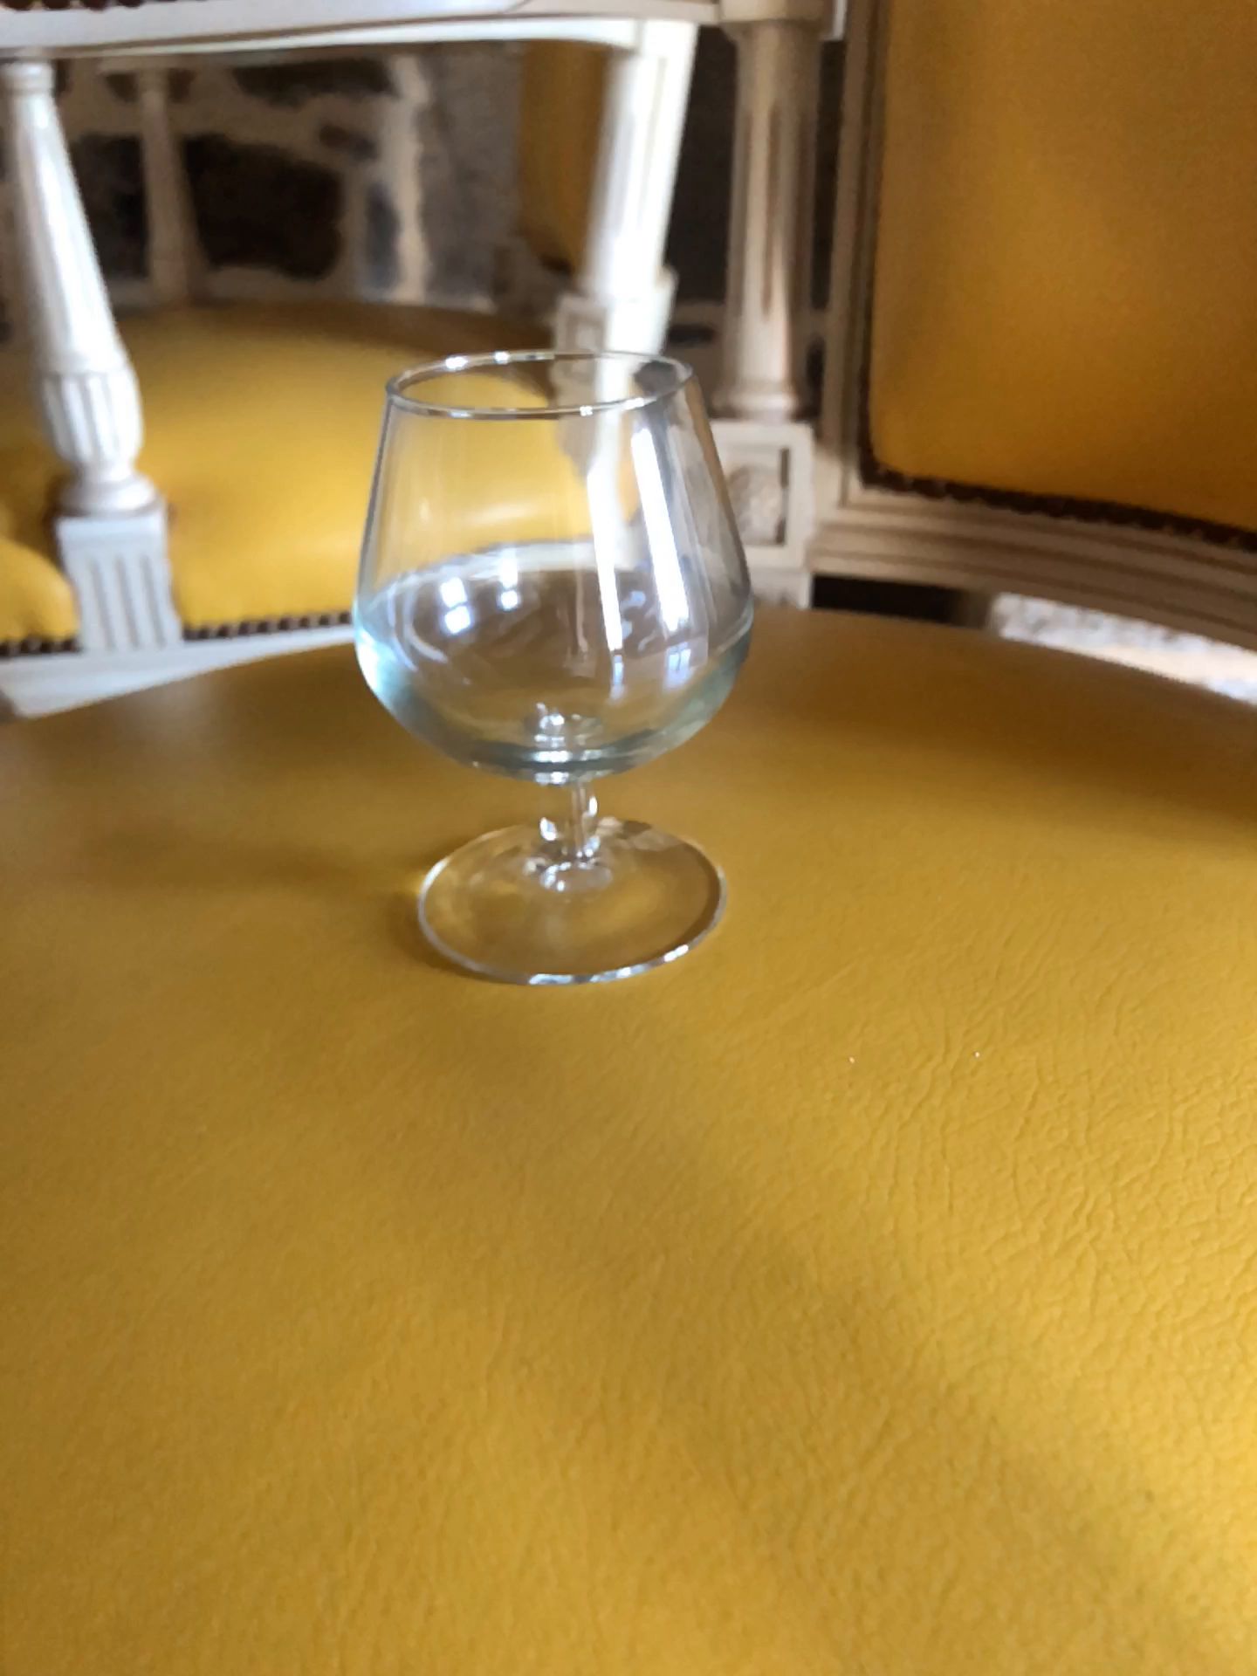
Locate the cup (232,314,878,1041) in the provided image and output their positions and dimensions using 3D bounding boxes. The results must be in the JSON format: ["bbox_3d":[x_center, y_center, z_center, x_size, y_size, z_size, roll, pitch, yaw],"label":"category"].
[{"bbox_3d":[-0.014,-0.031,0.229,0.080,0.089,0.070,-9,28,-16],"label":"cup"}]
